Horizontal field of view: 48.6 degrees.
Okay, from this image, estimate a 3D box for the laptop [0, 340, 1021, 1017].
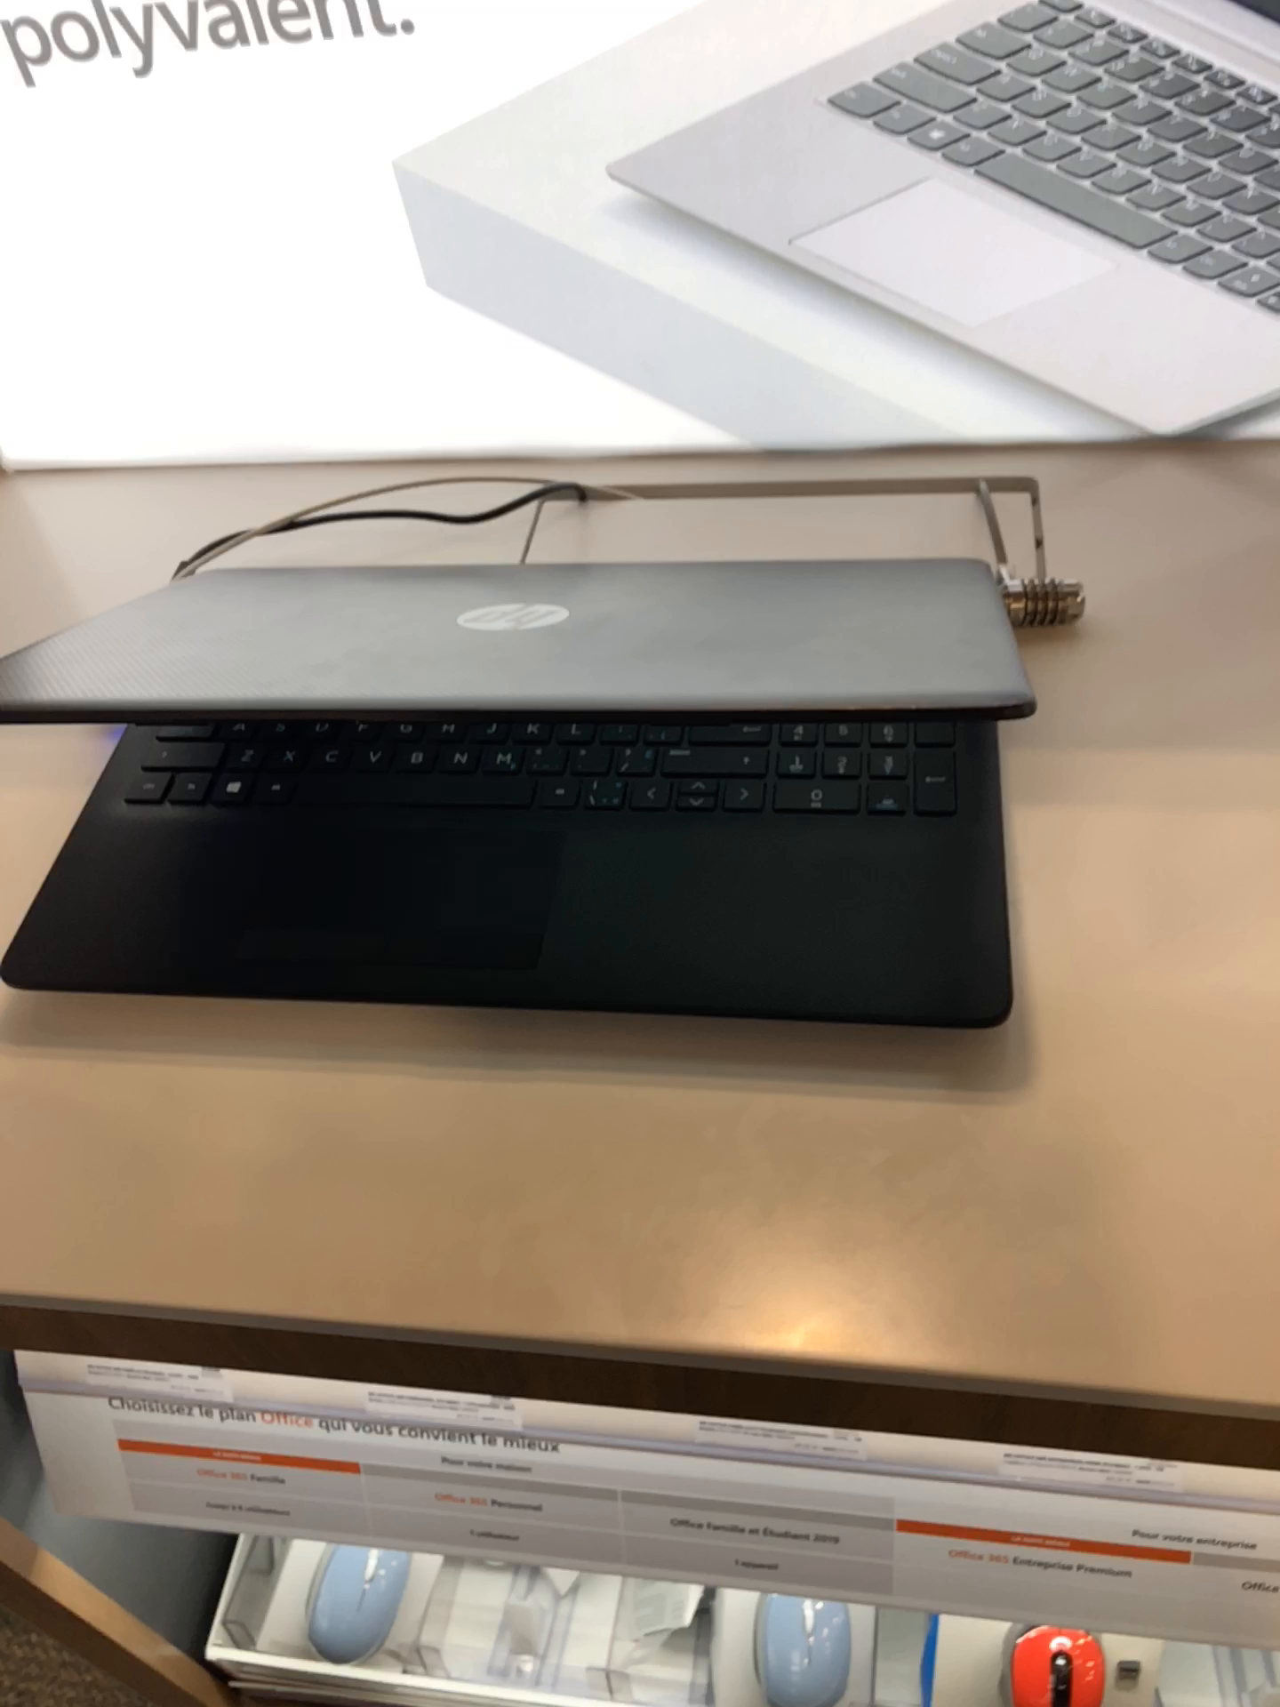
[{"bbox_3d":[-0.046,-0.076,0.535,0.351,0.107,0.239,2,48,11],"label":"laptop"}]
